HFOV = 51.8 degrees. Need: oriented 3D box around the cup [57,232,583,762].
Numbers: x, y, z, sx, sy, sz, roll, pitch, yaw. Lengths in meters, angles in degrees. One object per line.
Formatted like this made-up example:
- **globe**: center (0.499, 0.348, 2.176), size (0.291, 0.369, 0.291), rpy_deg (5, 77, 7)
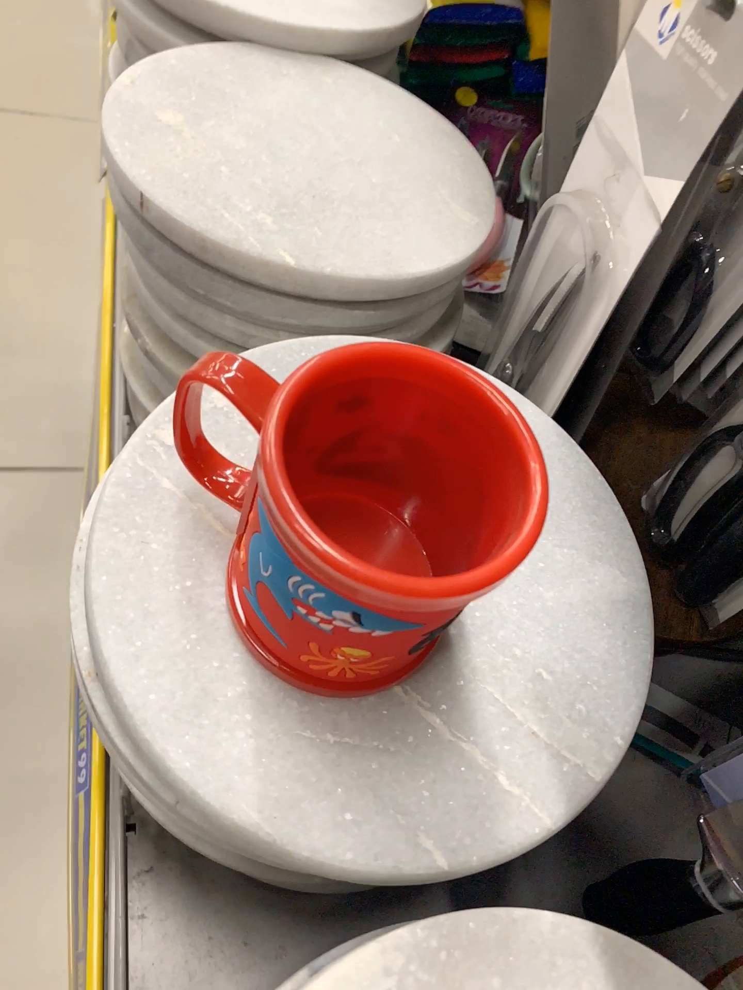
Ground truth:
- **cup**: center (-0.020, 0.004, 0.246), size (0.120, 0.100, 0.080), rpy_deg (33, 53, 7)
